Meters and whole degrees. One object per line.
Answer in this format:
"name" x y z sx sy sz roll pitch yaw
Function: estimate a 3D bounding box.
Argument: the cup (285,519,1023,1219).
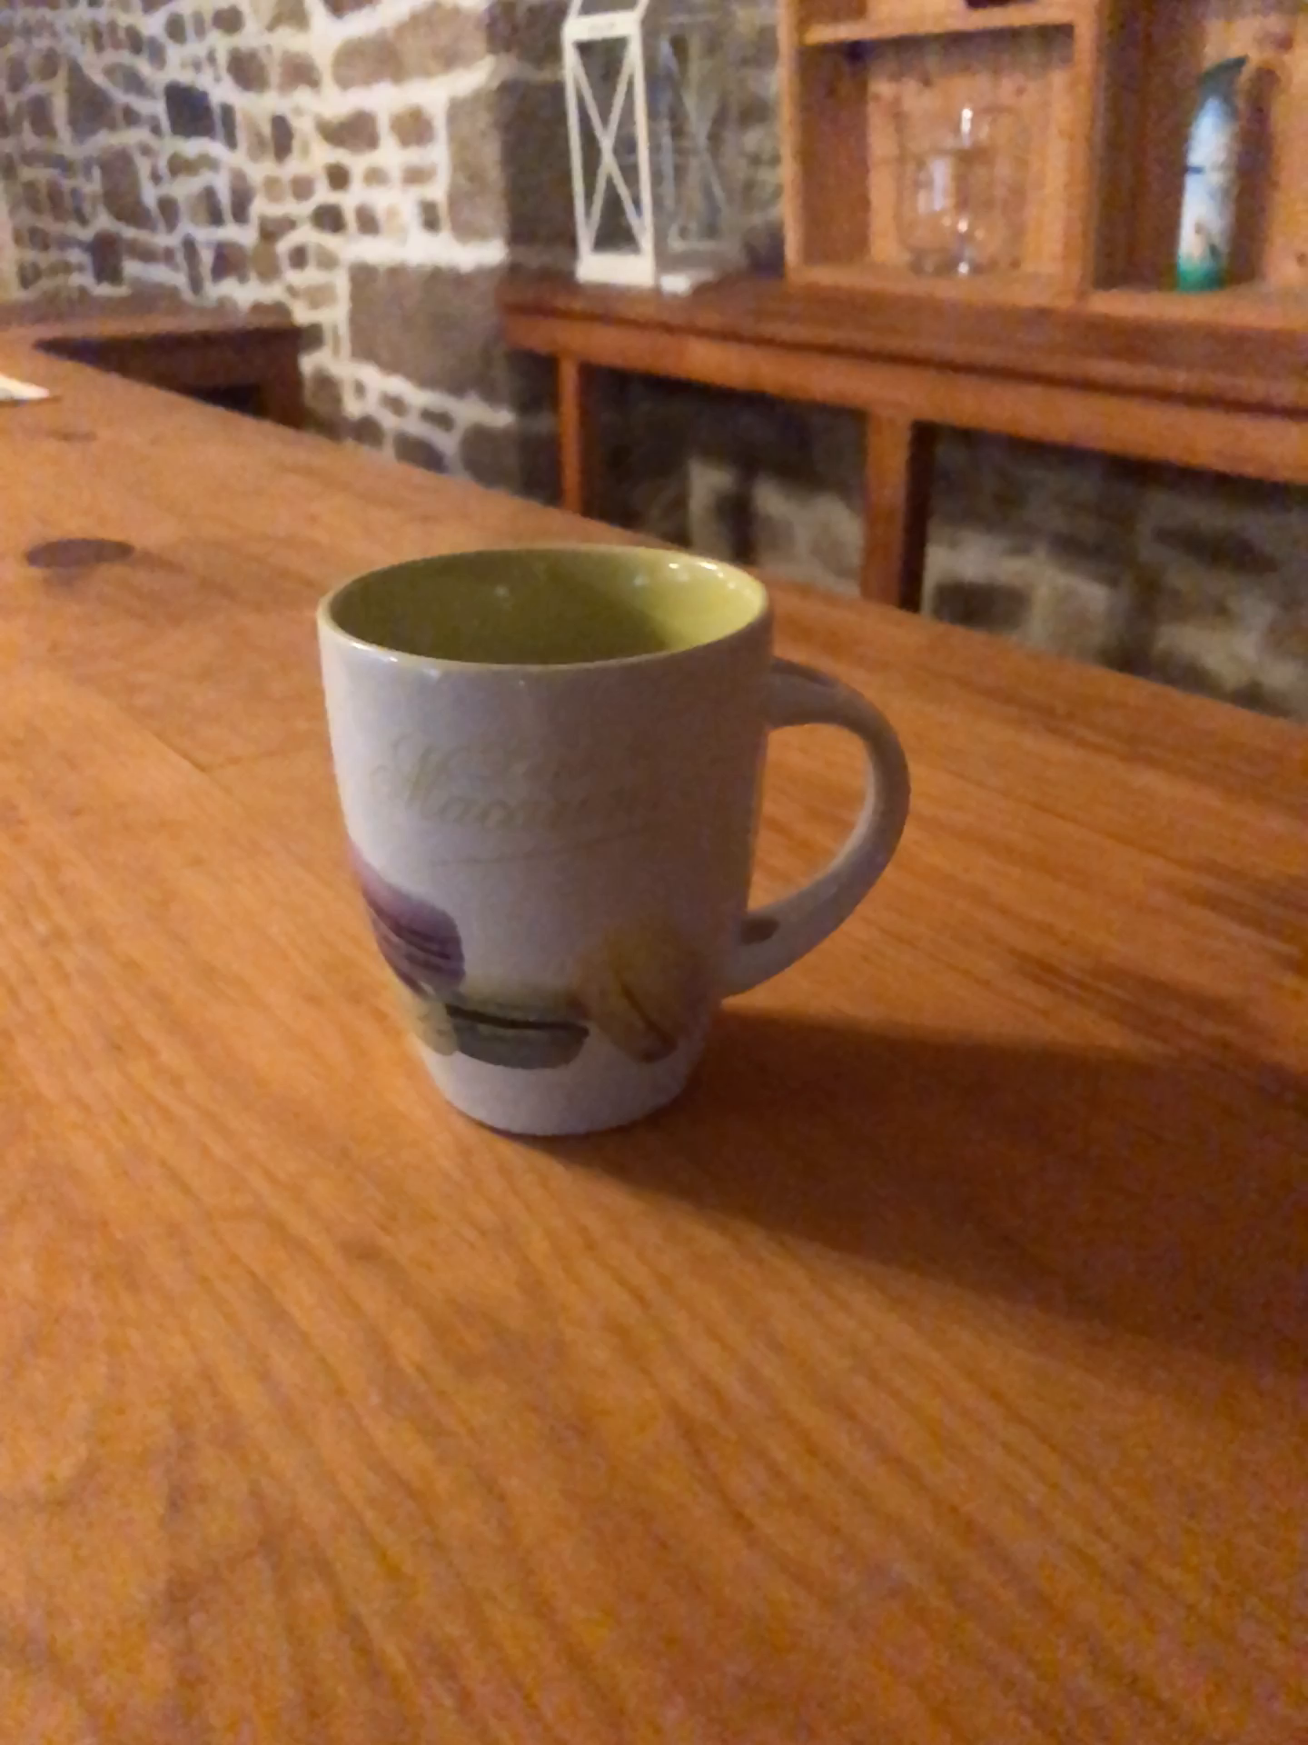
"cup" -0.006 -0.010 0.304 0.120 0.099 0.098 -8 27 -16
